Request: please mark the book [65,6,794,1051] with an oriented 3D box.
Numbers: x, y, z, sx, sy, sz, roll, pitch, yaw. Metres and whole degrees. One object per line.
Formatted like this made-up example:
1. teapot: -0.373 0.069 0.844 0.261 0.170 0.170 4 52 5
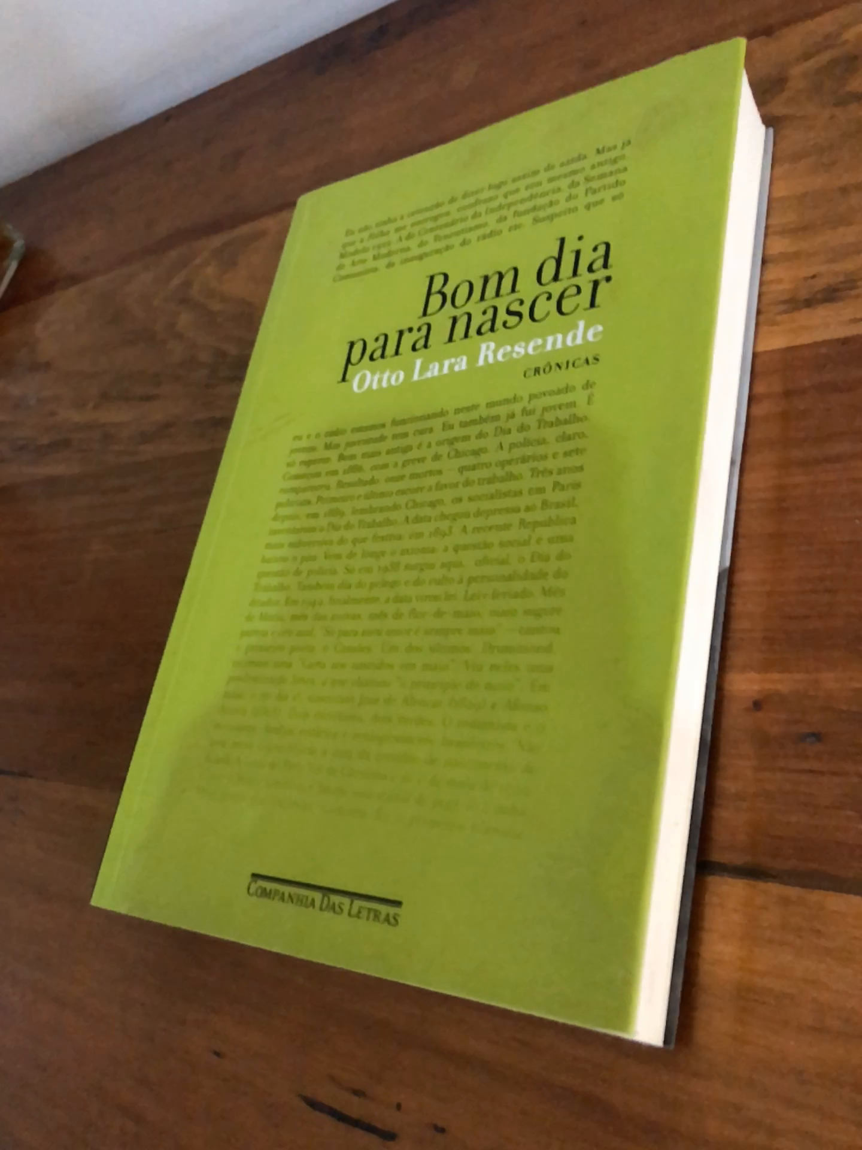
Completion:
1. book: 0.003 -0.020 0.224 0.136 0.030 0.209 -3 65 35
